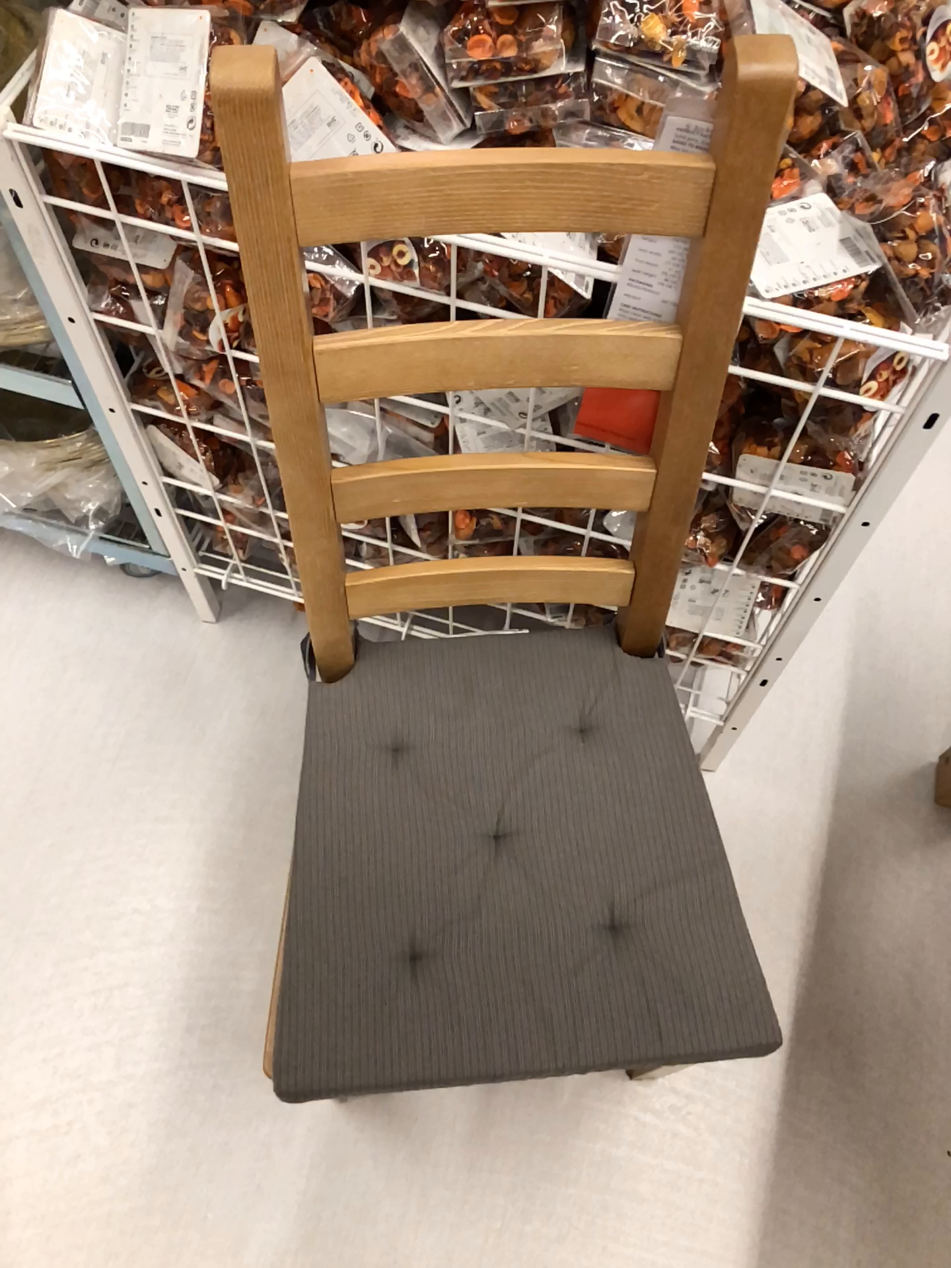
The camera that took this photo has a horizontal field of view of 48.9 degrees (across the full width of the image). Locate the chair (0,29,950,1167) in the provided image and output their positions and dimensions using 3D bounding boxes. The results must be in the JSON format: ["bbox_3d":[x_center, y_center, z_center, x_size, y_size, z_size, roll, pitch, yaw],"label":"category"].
[{"bbox_3d":[0.007,0.128,0.809,0.430,0.916,0.472,-3,63,-3],"label":"chair"}]
